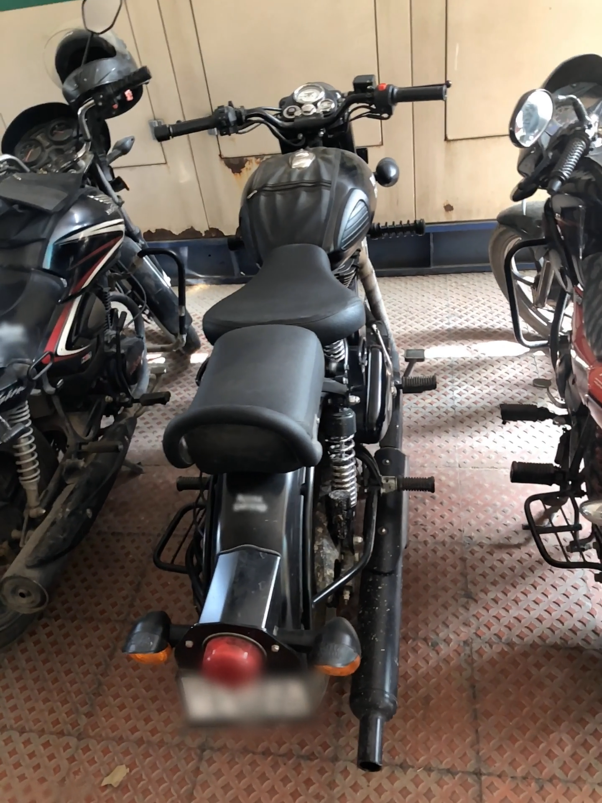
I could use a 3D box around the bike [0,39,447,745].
[{"bbox_3d":[-0.071,-0.213,1.733,0.709,0.919,1.695,-3,39,8],"label":"bike"}]
